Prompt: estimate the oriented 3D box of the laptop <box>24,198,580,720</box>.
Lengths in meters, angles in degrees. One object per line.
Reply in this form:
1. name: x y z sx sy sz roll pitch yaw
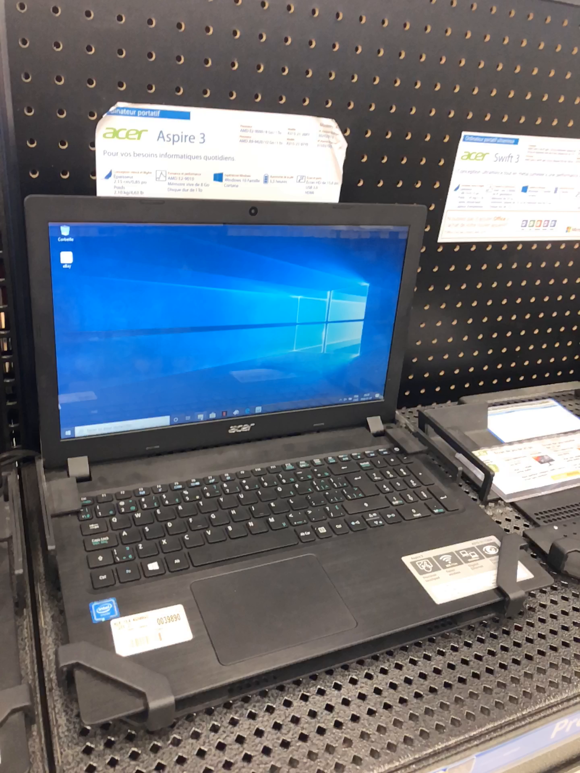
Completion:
1. laptop: 0.005 0.008 0.531 0.386 0.247 0.296 -6 30 -23
